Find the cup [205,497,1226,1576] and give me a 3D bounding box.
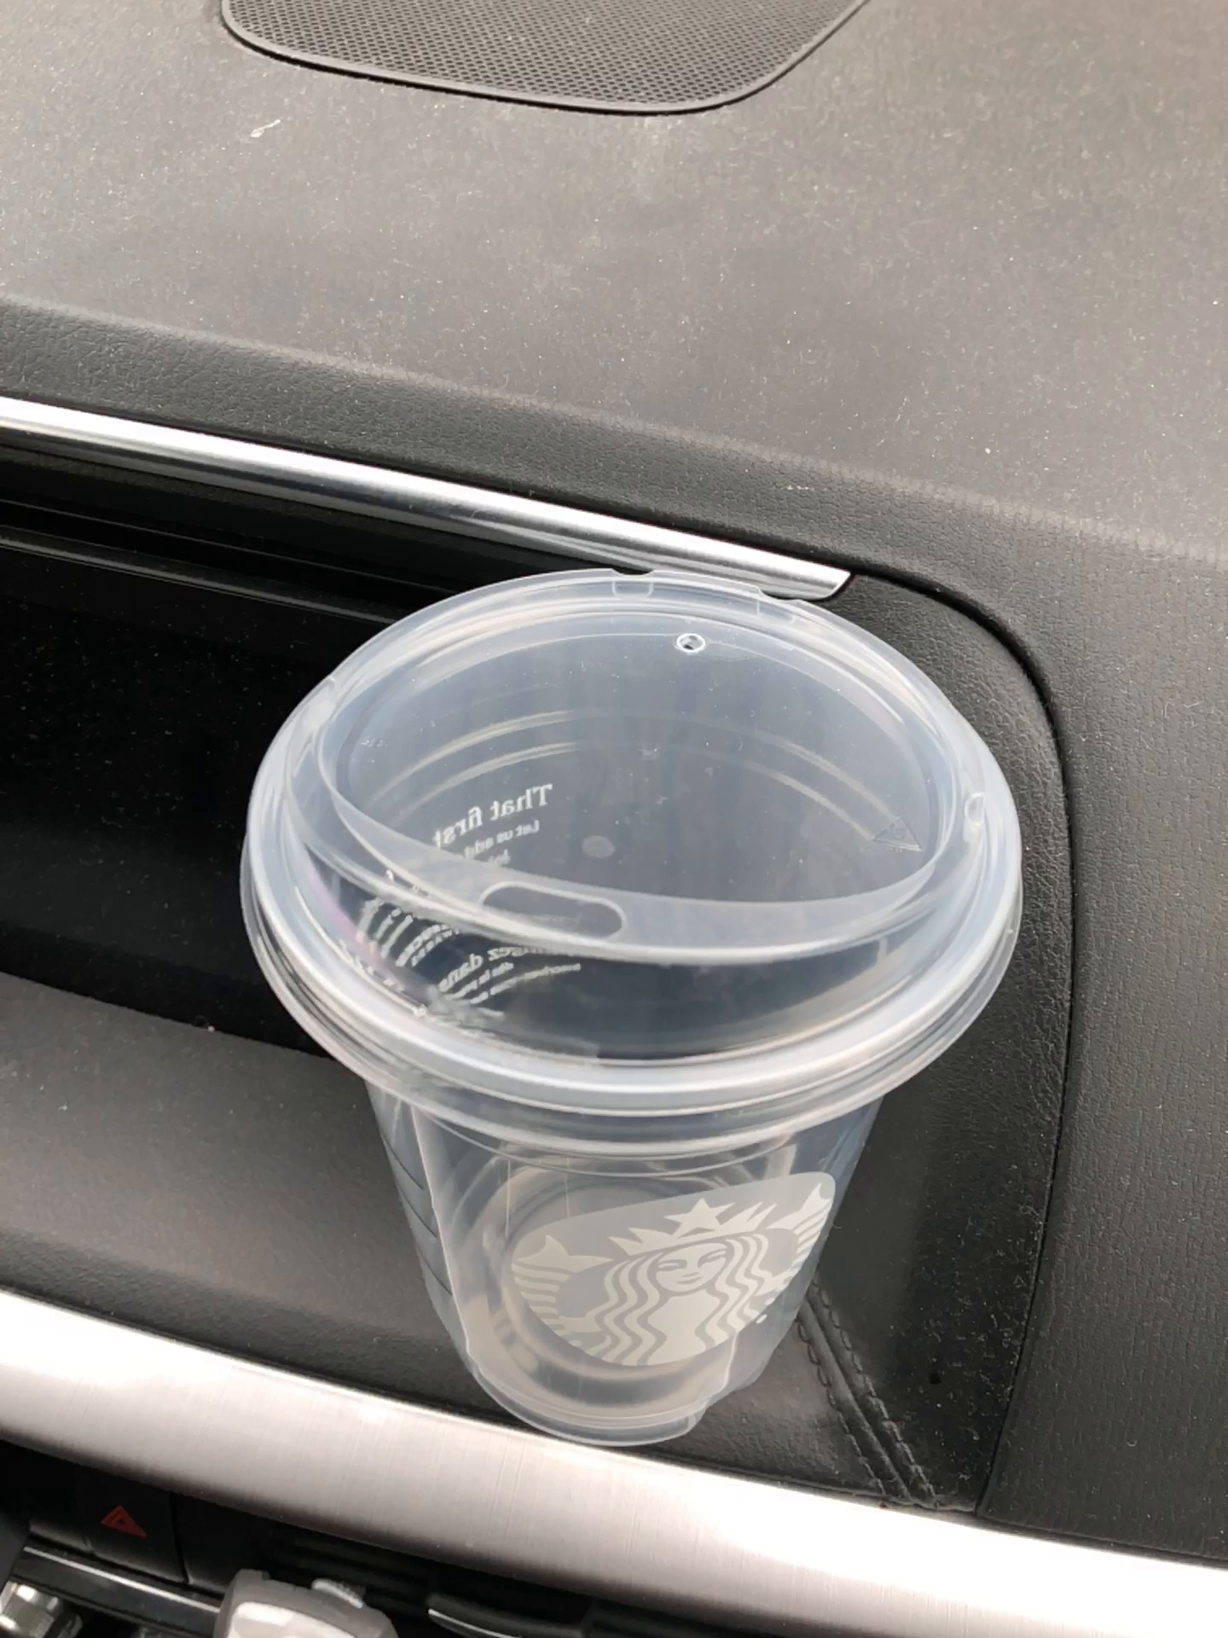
[{"bbox_3d":[0.001,0.035,0.189,0.088,0.125,0.082,2,48,-2],"label":"cup"}]
